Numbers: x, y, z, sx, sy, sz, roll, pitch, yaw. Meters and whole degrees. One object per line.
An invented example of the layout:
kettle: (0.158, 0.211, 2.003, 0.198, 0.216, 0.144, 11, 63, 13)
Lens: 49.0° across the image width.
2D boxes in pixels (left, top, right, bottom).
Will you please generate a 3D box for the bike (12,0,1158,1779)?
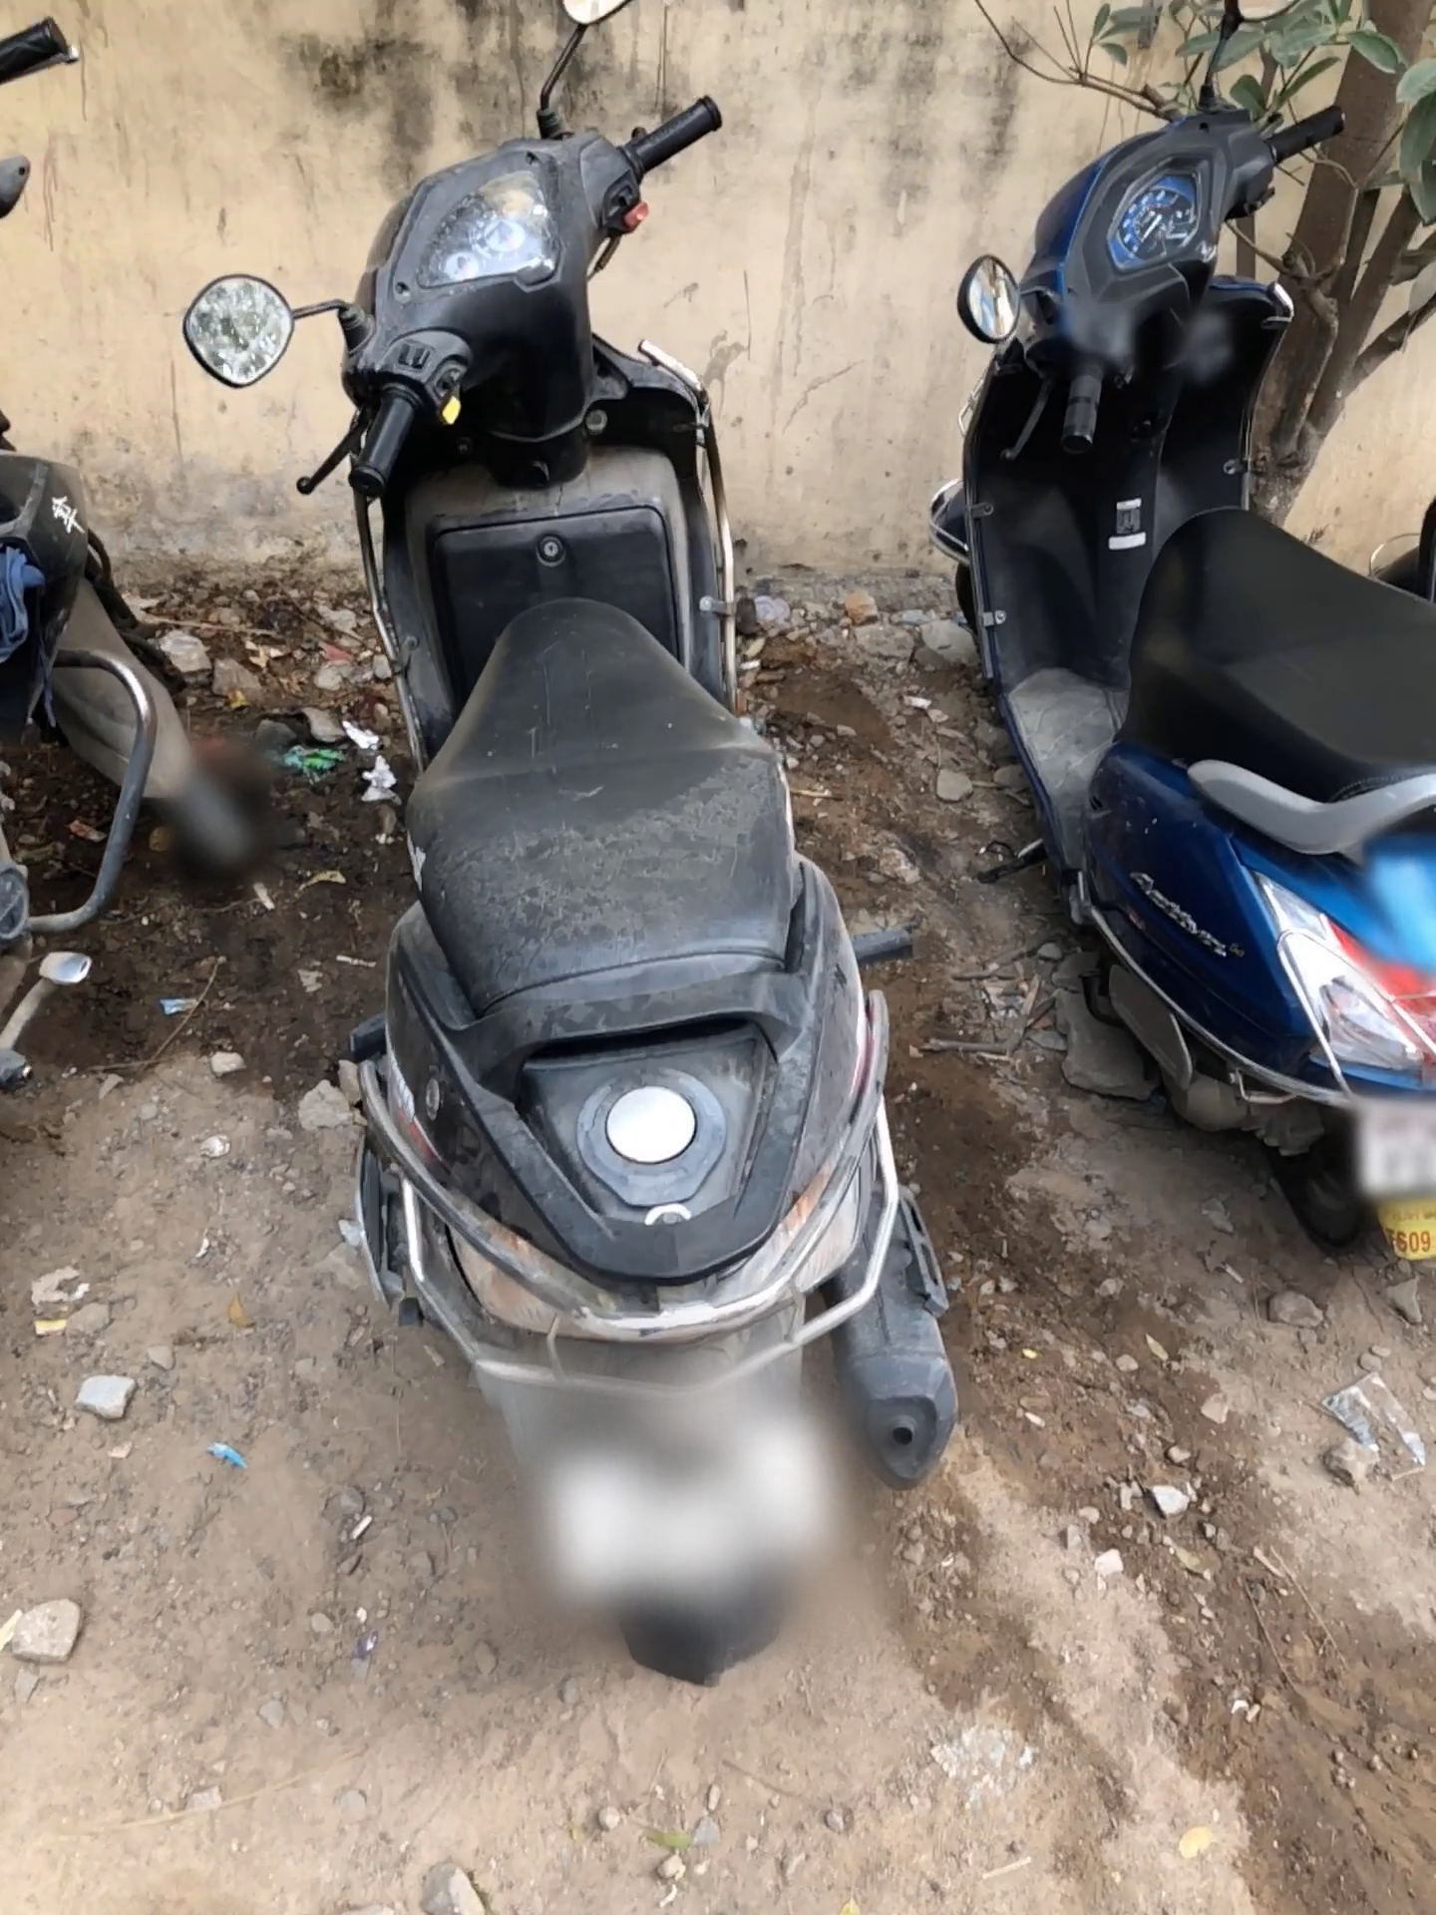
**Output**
bike: (-0.303, -0.325, 1.580, 0.528, 1.113, 1.568, -6, 40, -16)
